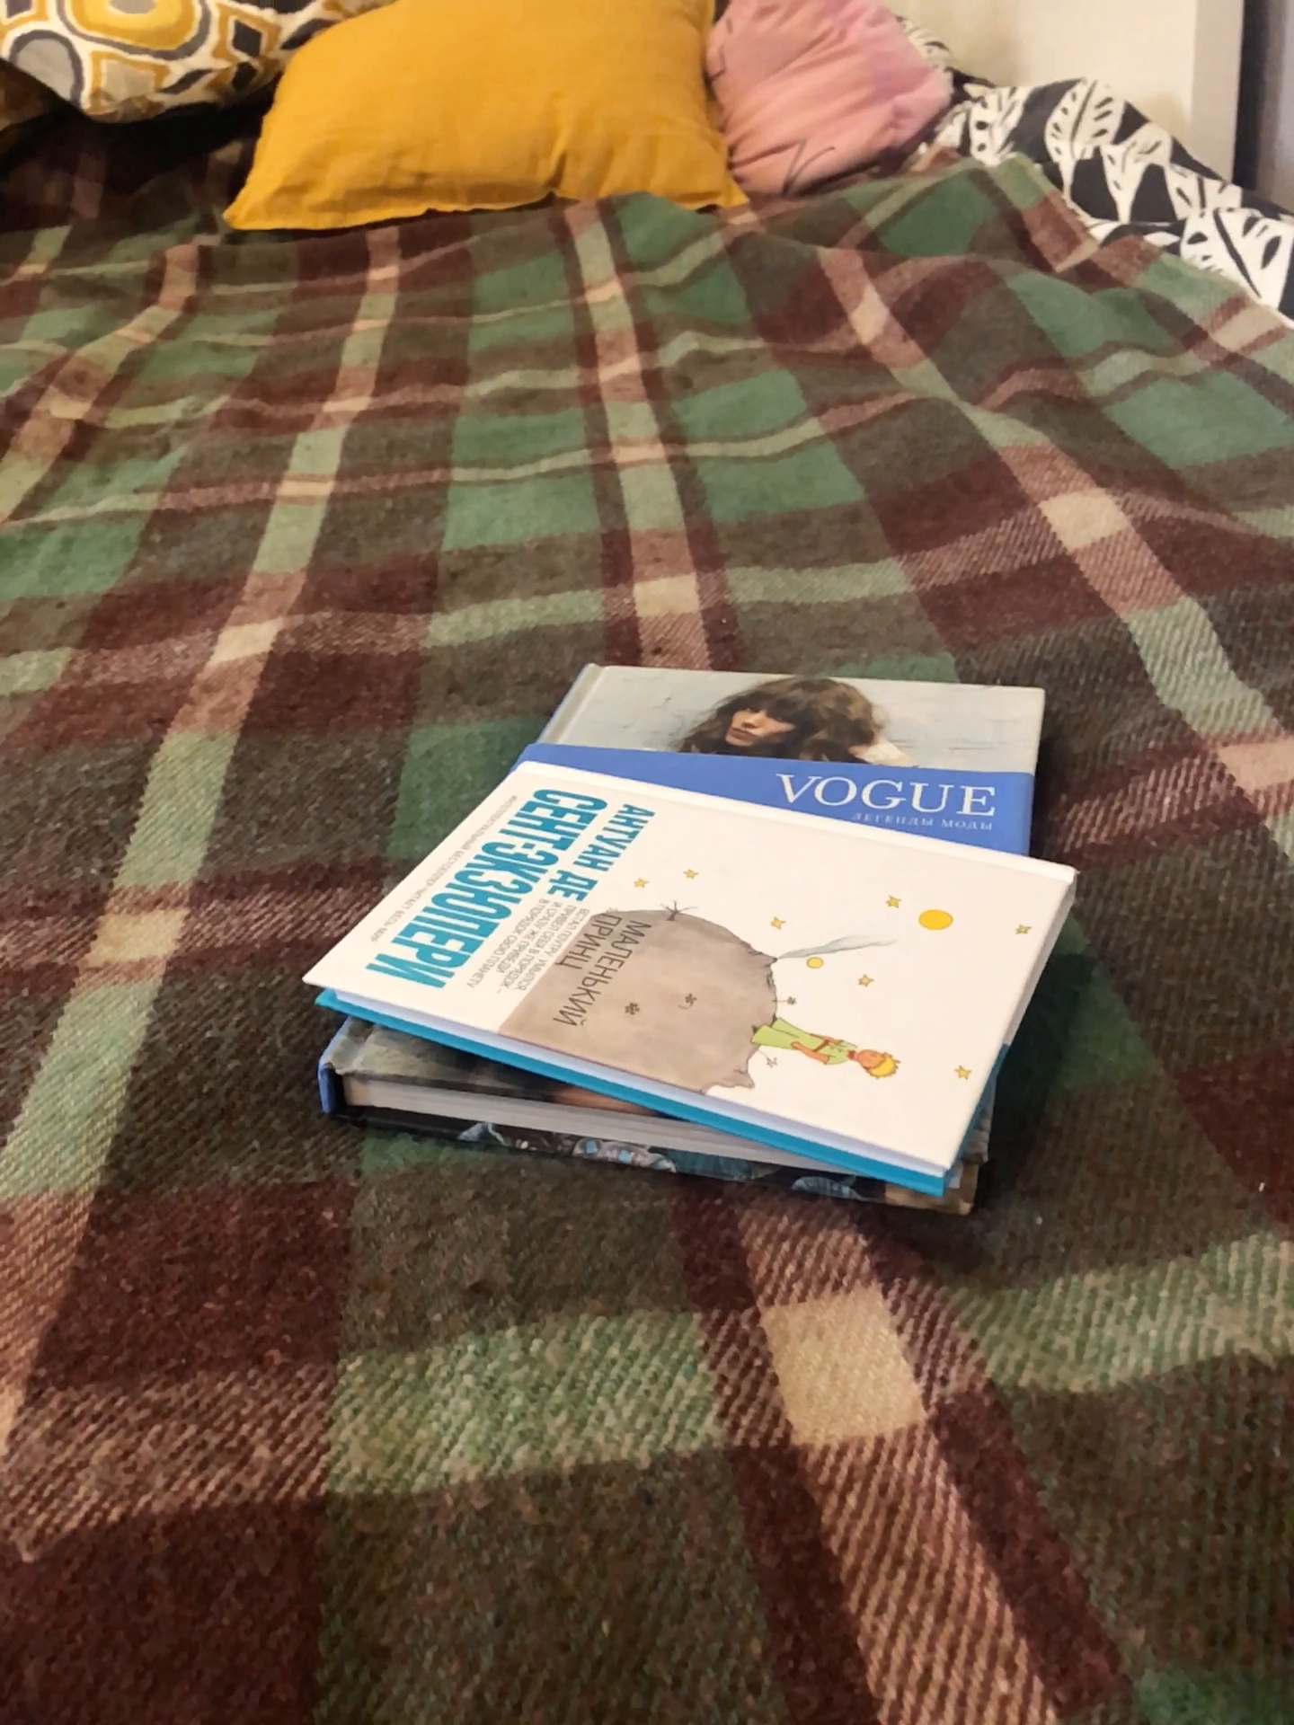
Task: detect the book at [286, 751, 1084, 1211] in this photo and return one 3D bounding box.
[{"bbox_3d":[0.013,0.019,0.372,0.170,0.014,0.120,13,37,24],"label":"book"}]

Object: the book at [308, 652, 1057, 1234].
[{"bbox_3d":[0.031,0.002,0.445,0.174,0.023,0.241,6,35,15],"label":"book"}]
